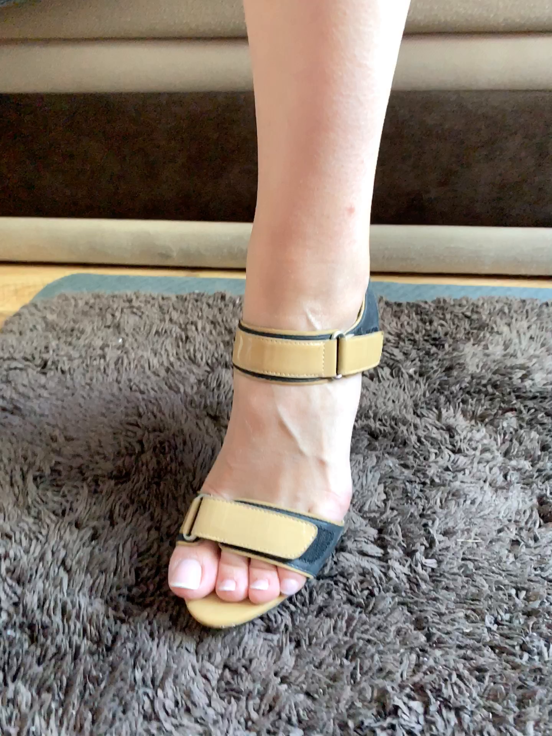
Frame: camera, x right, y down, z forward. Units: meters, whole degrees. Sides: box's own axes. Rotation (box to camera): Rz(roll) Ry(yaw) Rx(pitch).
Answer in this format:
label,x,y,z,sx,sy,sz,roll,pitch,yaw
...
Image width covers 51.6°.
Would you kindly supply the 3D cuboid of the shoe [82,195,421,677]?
label,x,y,z,sx,sy,sz,roll,pitch,yaw
shoe,0.009,0.018,0.309,0.090,0.149,0.201,11,38,17
